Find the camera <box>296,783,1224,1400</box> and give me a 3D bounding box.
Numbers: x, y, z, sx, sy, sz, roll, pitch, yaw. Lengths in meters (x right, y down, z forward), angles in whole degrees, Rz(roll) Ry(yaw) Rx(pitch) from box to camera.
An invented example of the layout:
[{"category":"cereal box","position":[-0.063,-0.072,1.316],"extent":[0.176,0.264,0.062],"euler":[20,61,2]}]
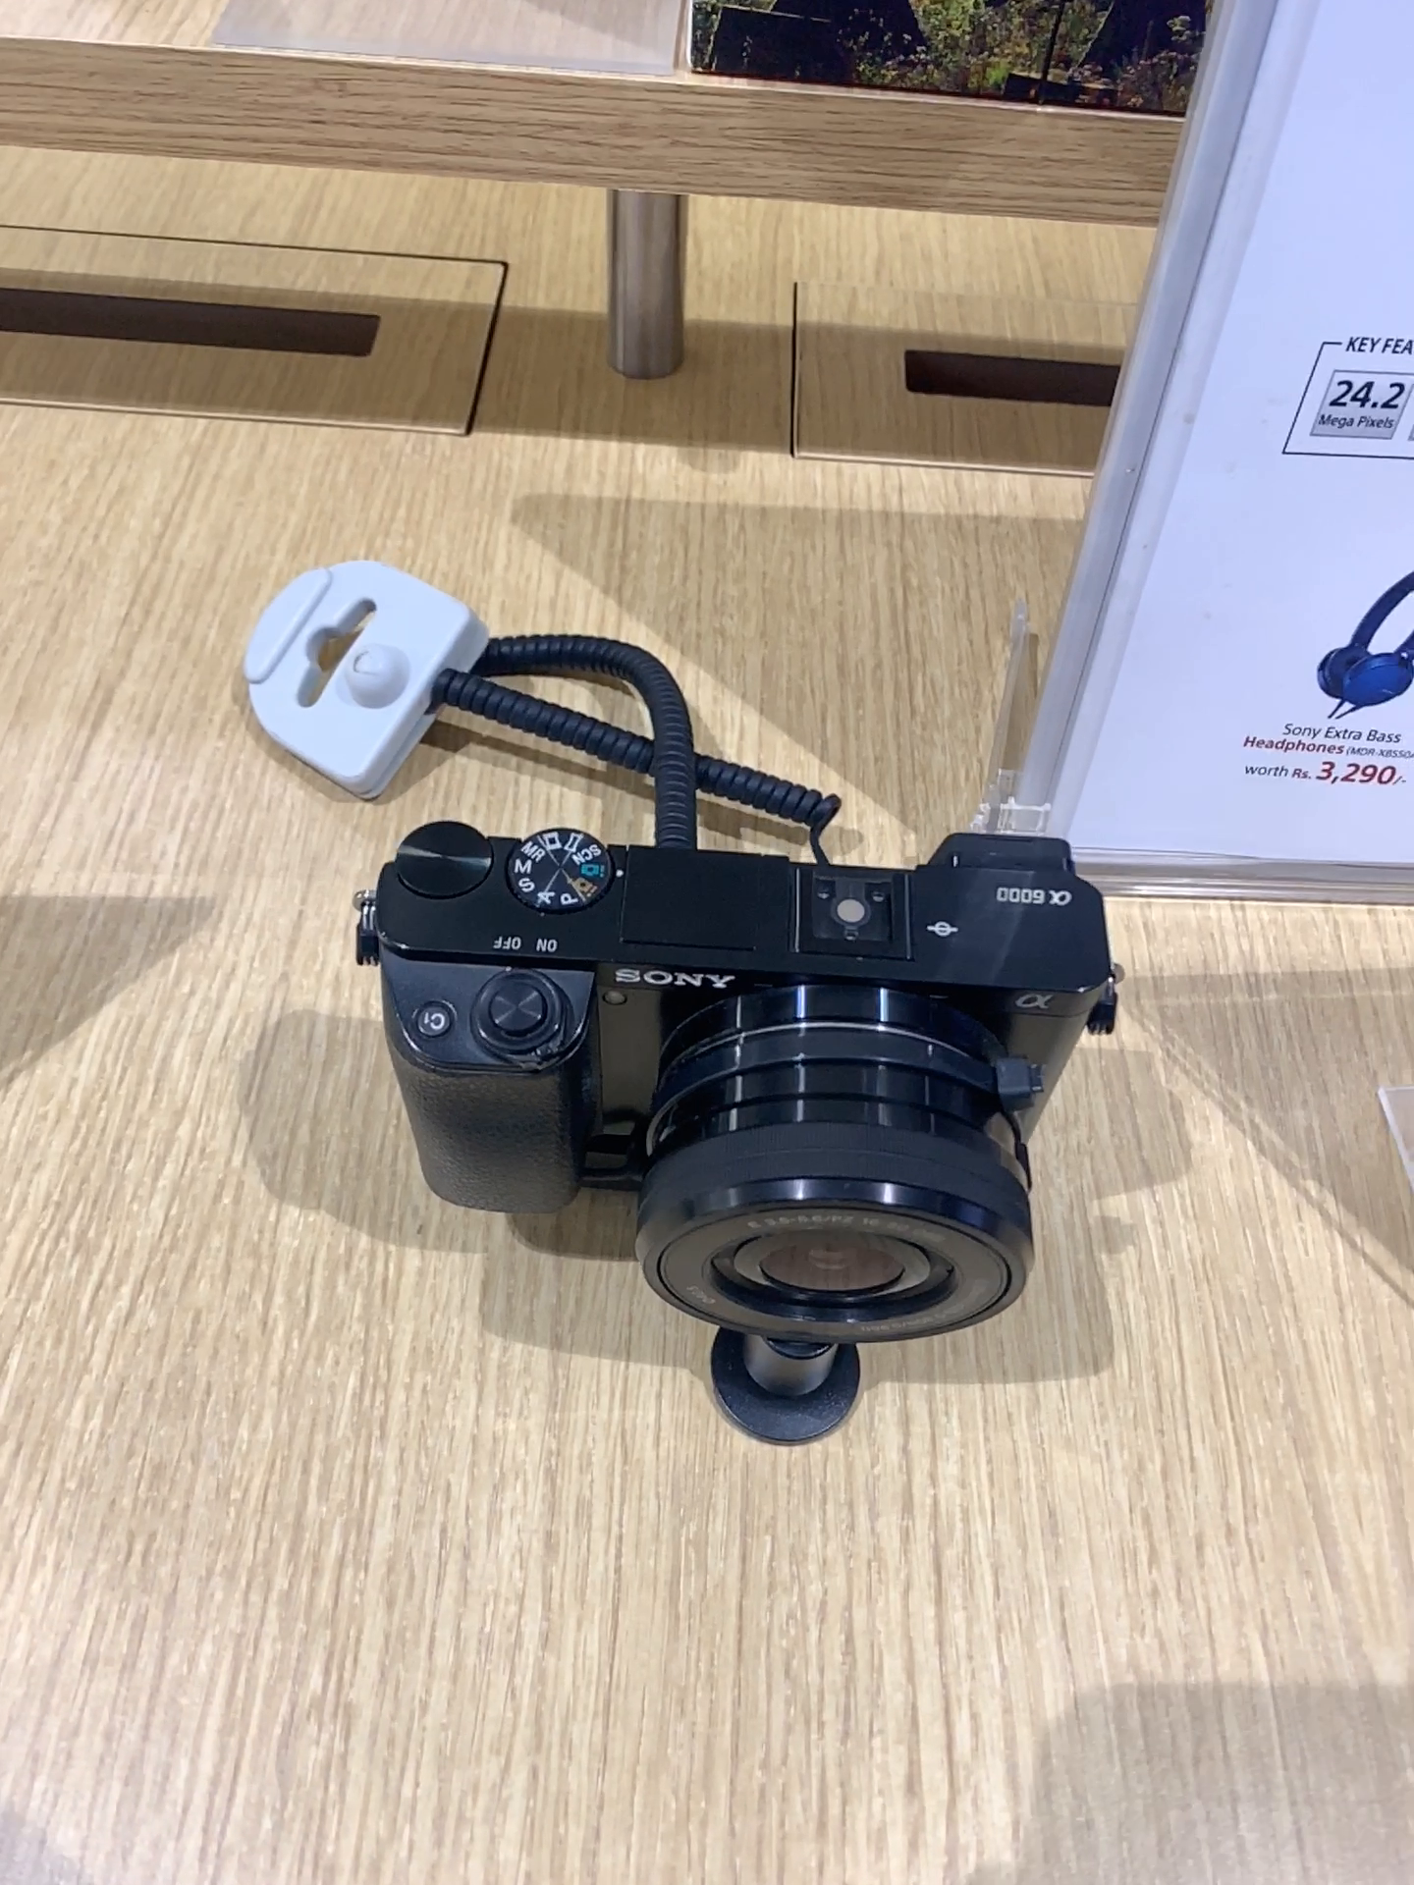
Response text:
[{"category":"camera","position":[0.007,0.030,0.261],"extent":[0.130,0.090,0.070],"euler":[2,55,-1]}]
